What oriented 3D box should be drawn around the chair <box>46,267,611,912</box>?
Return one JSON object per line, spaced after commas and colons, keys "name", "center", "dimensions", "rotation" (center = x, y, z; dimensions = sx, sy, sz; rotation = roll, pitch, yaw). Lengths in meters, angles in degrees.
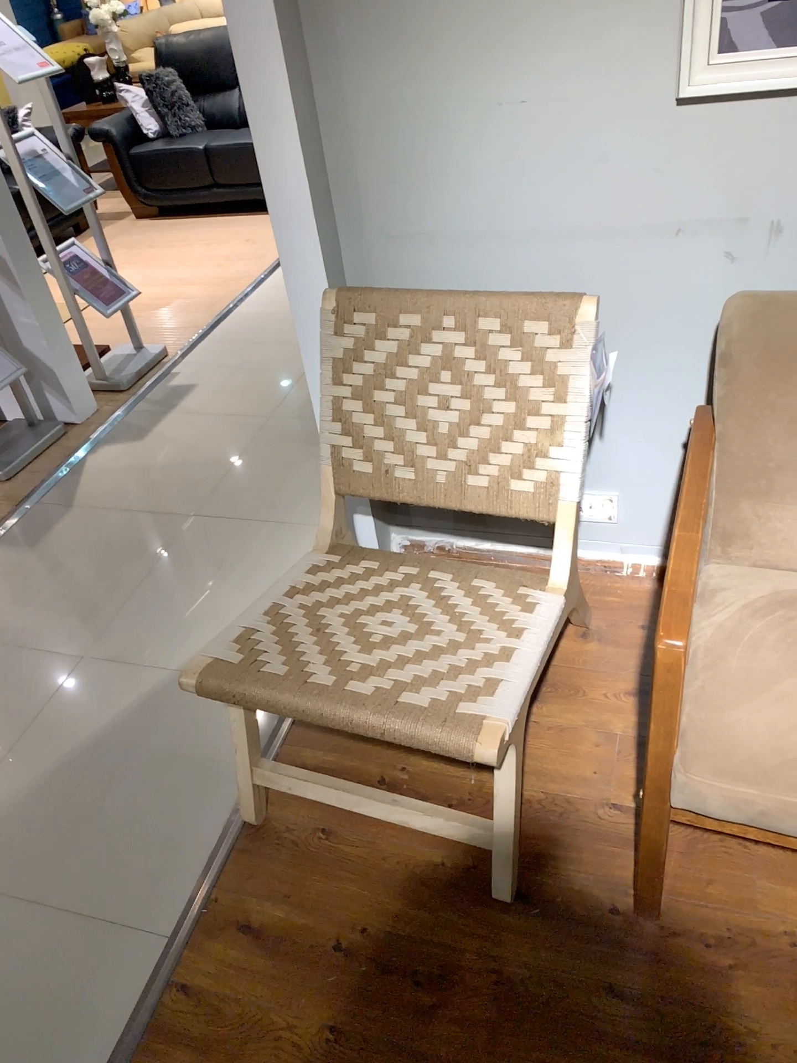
{"name": "chair", "center": [-0.007, 0.064, 1.456], "dimensions": [0.631, 0.846, 0.662], "rotation": [7, 40, 21]}
